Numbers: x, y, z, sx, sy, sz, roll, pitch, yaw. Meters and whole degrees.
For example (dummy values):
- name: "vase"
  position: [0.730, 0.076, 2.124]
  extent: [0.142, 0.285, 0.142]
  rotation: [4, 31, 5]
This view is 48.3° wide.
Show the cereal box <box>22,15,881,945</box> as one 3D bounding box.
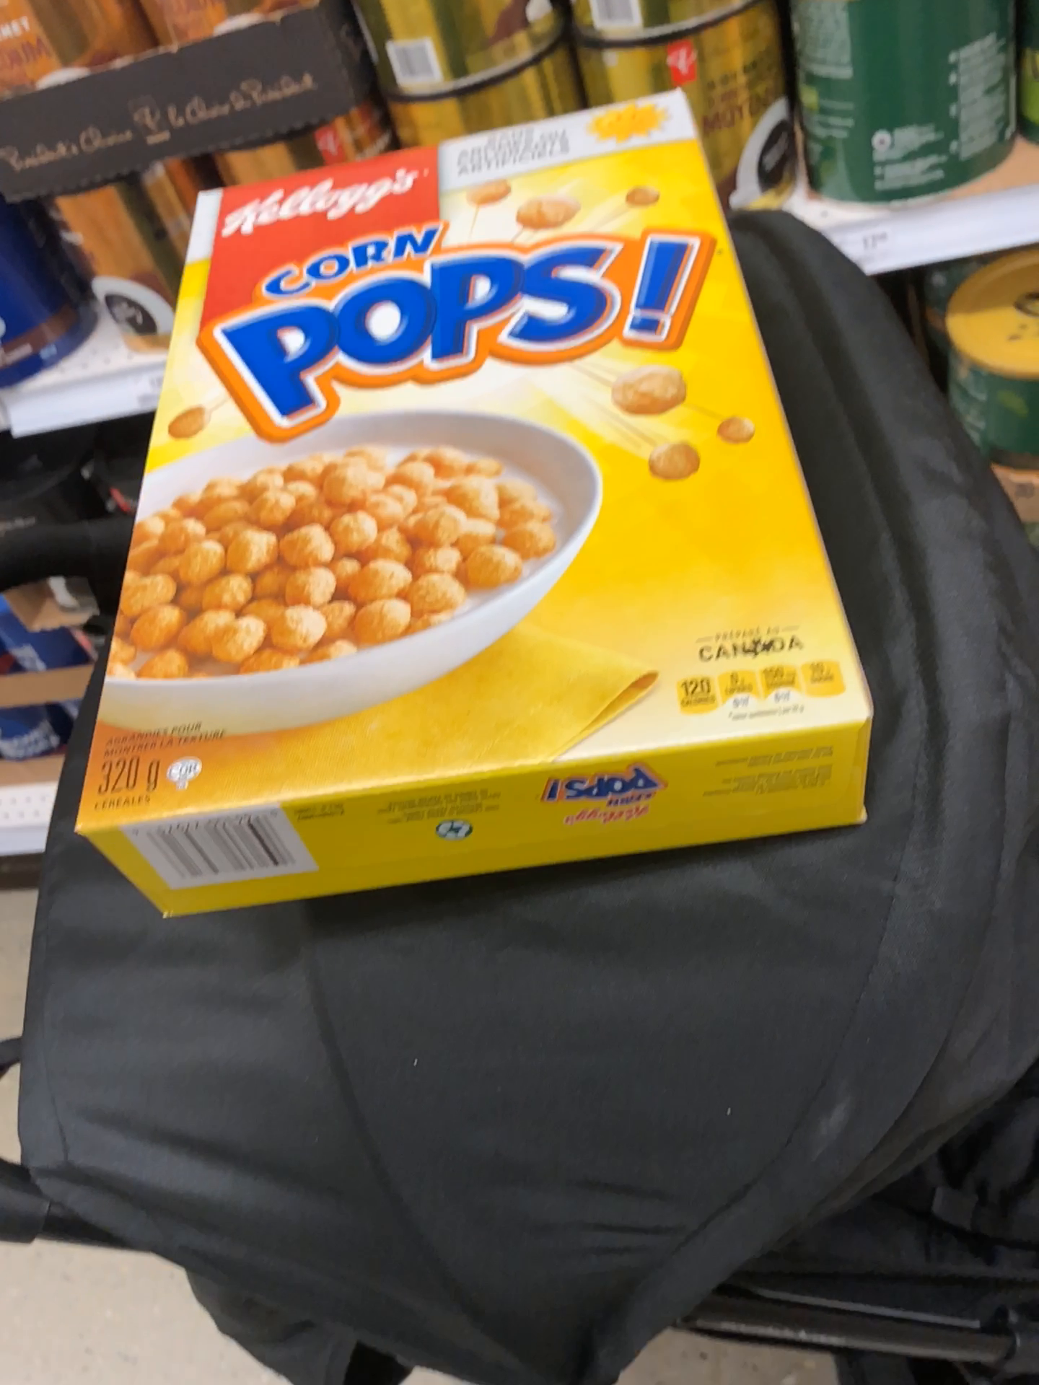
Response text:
- name: "cereal box"
  position: [-0.024, -0.093, 0.380]
  extent: [0.200, 0.060, 0.321]
  rotation: [-10, 54, 8]
